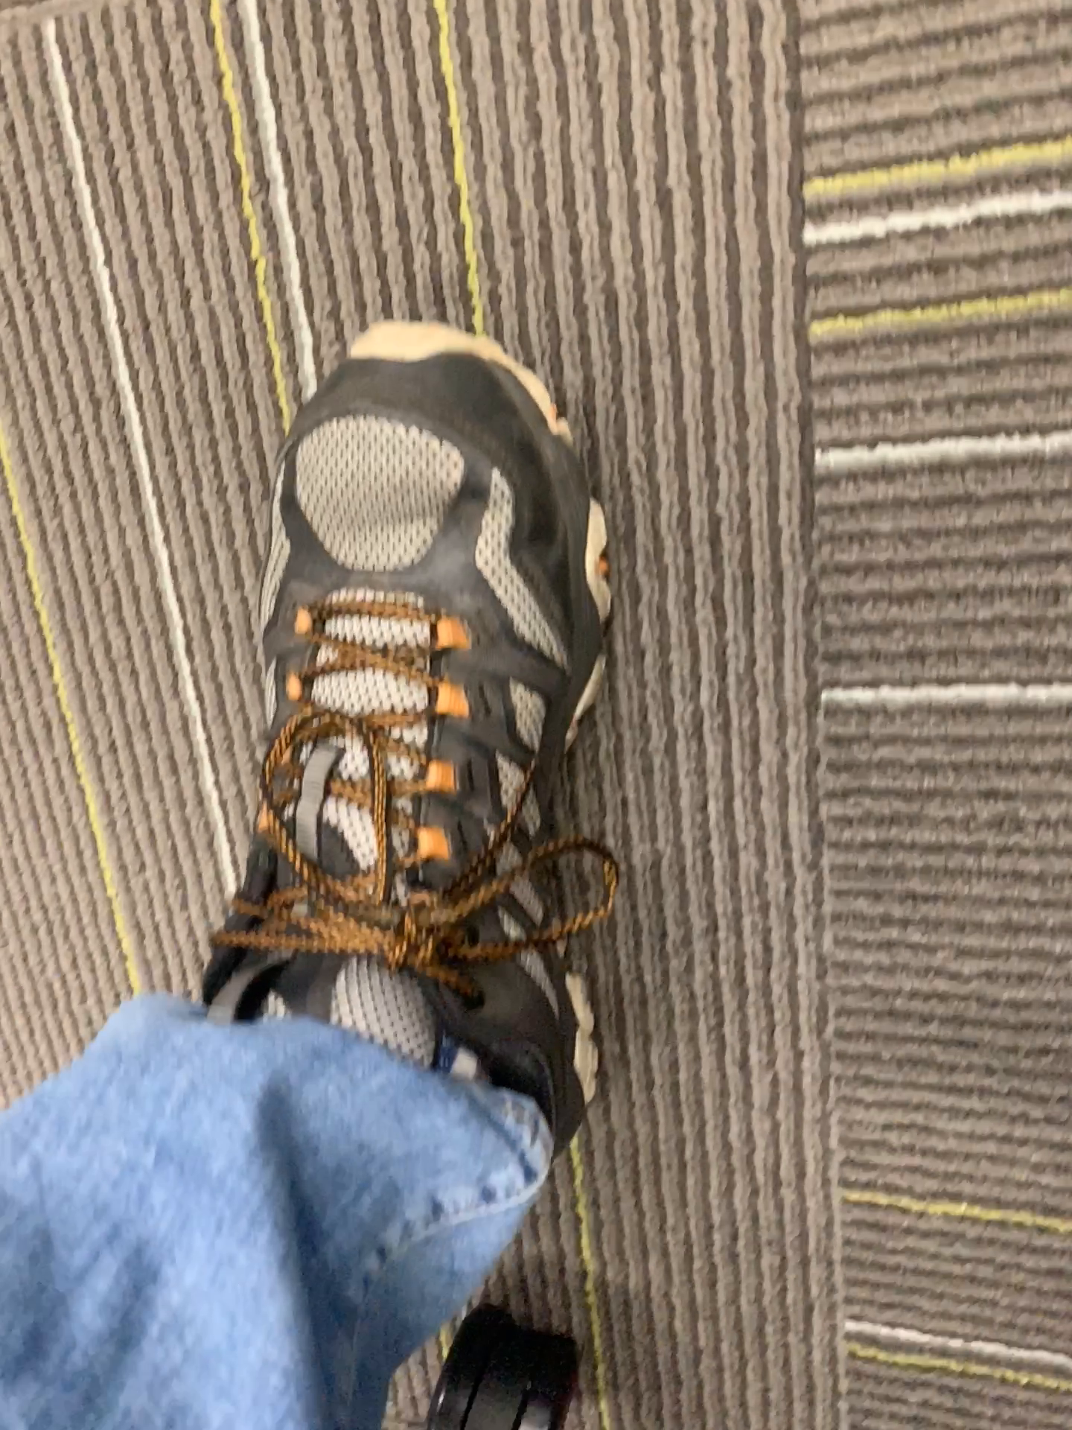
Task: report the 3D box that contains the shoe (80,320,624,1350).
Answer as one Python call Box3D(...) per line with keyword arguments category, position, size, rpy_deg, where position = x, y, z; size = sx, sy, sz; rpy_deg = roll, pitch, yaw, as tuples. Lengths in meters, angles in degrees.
Box3D(category="shoe", position=(-0.043, 0.040, 0.375), size=(0.125, 0.095, 0.324), rpy_deg=(4, 111, 17))
